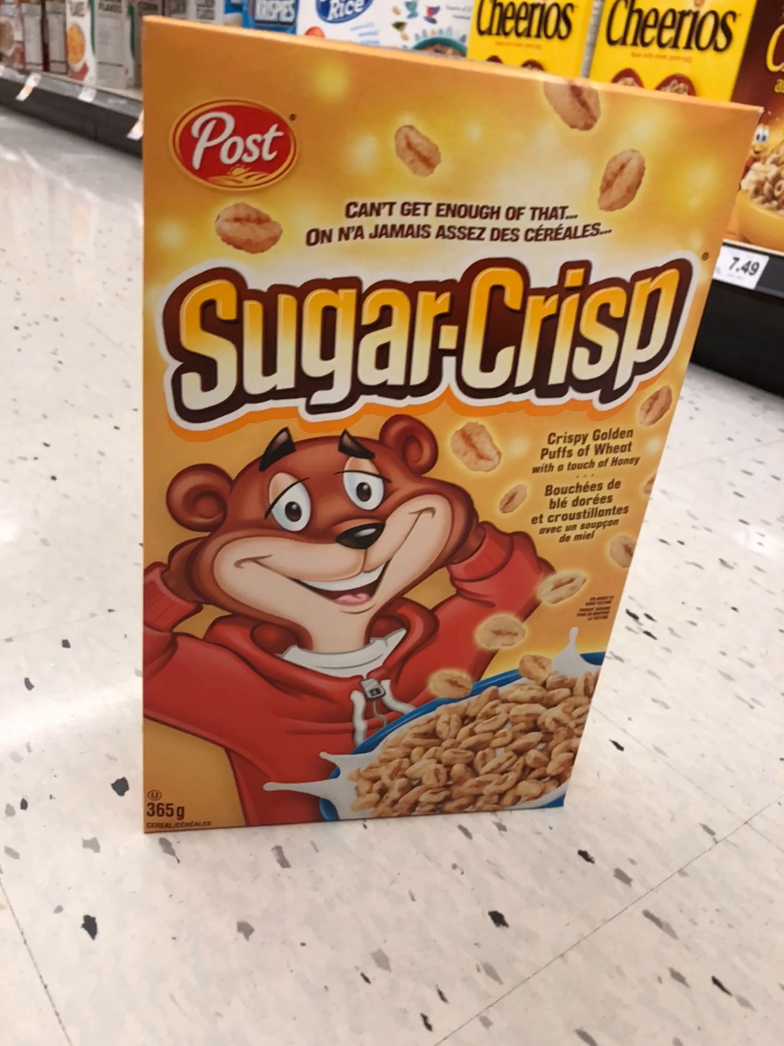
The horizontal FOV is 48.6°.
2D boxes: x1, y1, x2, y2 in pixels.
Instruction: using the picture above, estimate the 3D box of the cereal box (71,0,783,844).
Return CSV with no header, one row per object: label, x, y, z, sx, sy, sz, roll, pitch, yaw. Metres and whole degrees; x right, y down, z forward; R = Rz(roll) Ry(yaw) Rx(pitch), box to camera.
cereal box,-0.001,-0.020,0.326,0.210,0.298,0.060,1,27,-14
